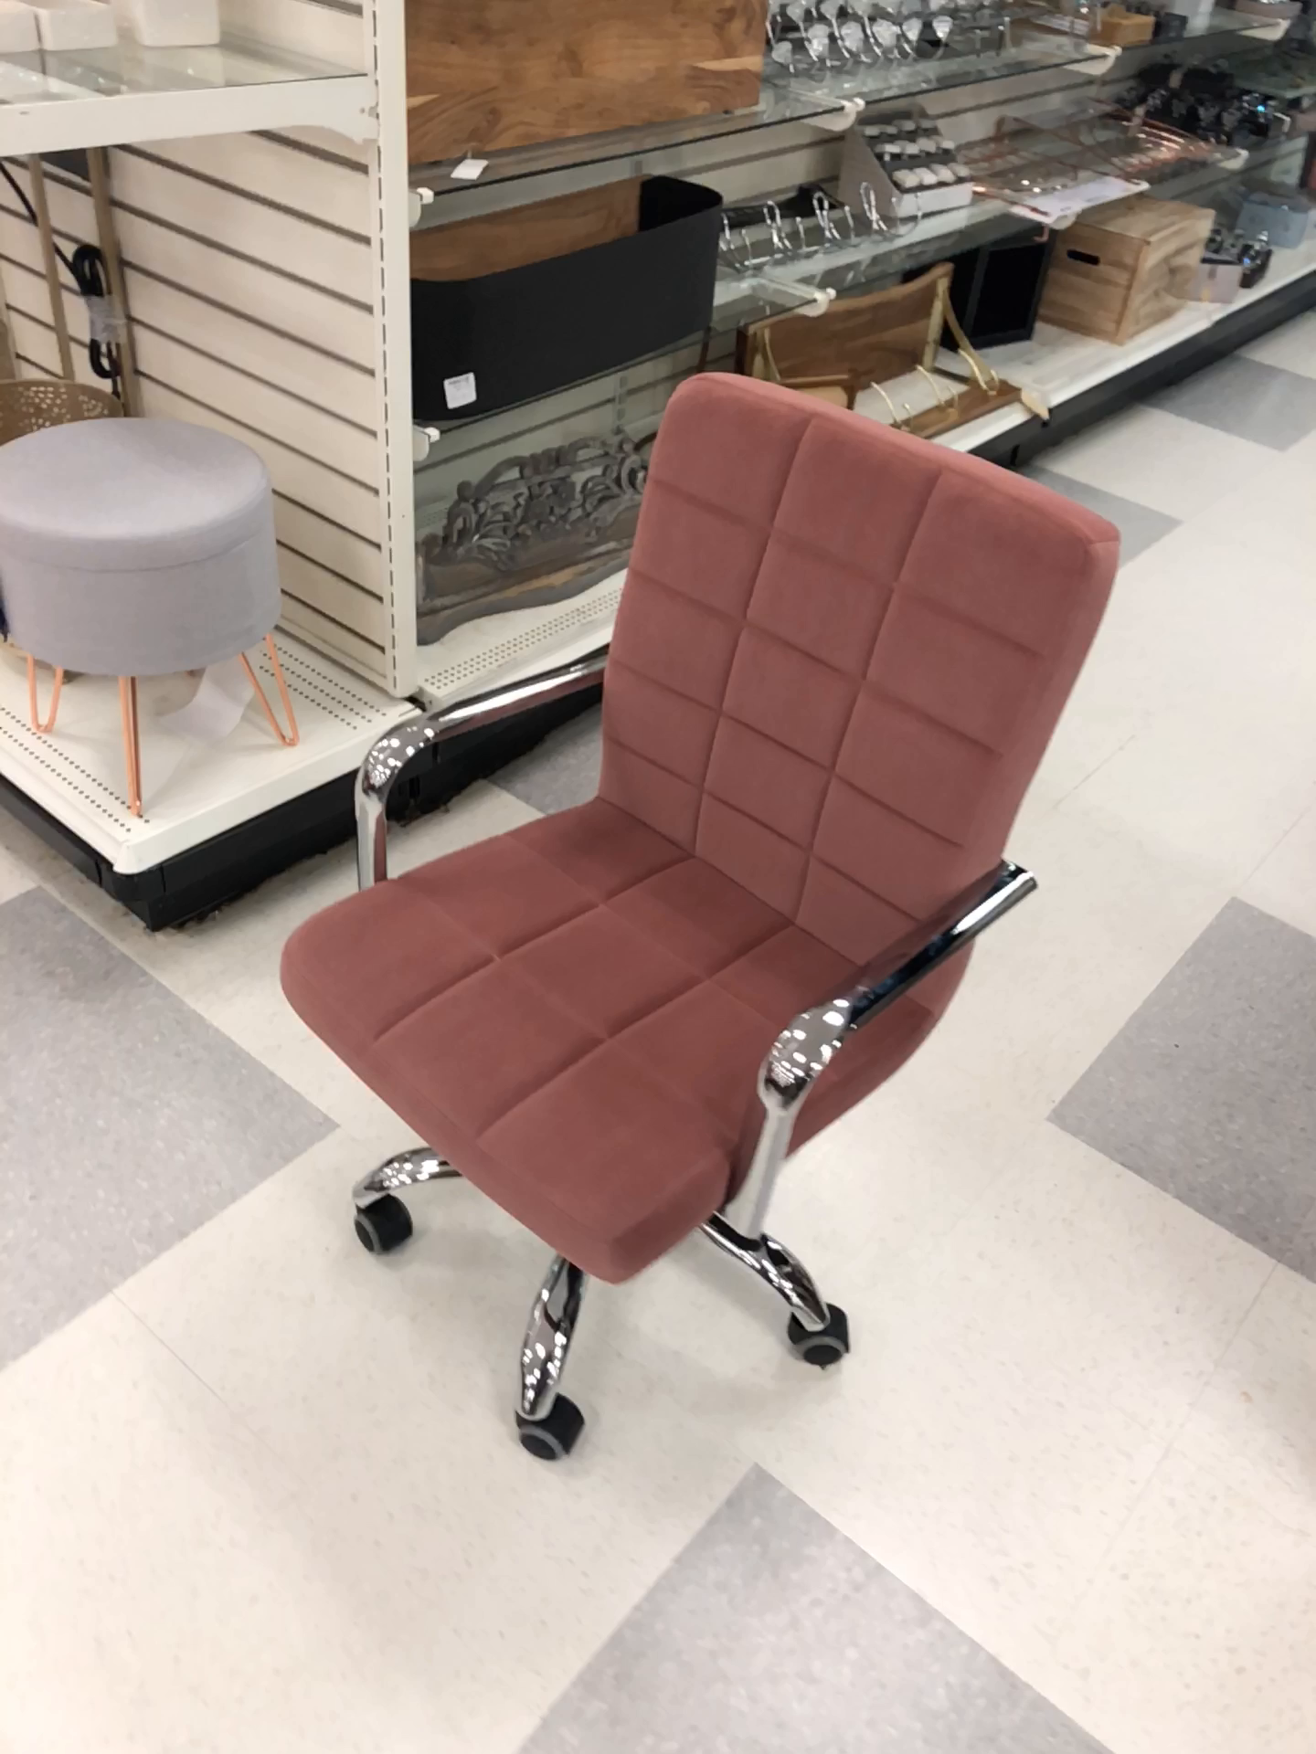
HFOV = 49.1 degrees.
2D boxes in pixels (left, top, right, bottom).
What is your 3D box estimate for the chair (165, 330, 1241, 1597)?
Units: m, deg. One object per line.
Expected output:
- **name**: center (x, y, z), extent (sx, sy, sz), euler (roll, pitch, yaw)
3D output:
- **chair**: center (0.007, 0.059, 1.329), extent (0.565, 0.842, 0.571), euler (34, 46, 29)
